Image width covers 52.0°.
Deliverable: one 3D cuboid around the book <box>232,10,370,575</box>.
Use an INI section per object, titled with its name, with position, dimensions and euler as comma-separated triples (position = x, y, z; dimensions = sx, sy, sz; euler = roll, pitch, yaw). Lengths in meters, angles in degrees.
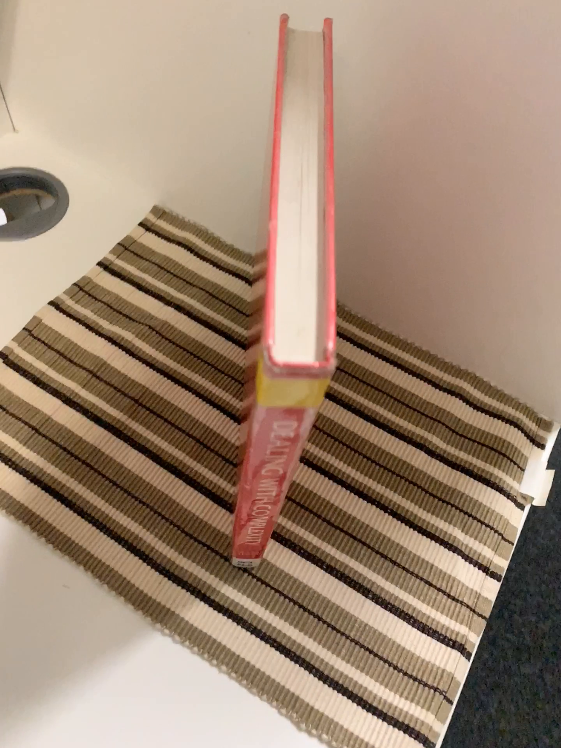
[book]
position = 0.001, -0.019, 0.323
dimensions = 0.030, 0.251, 0.201
euler = 5, 59, -4
